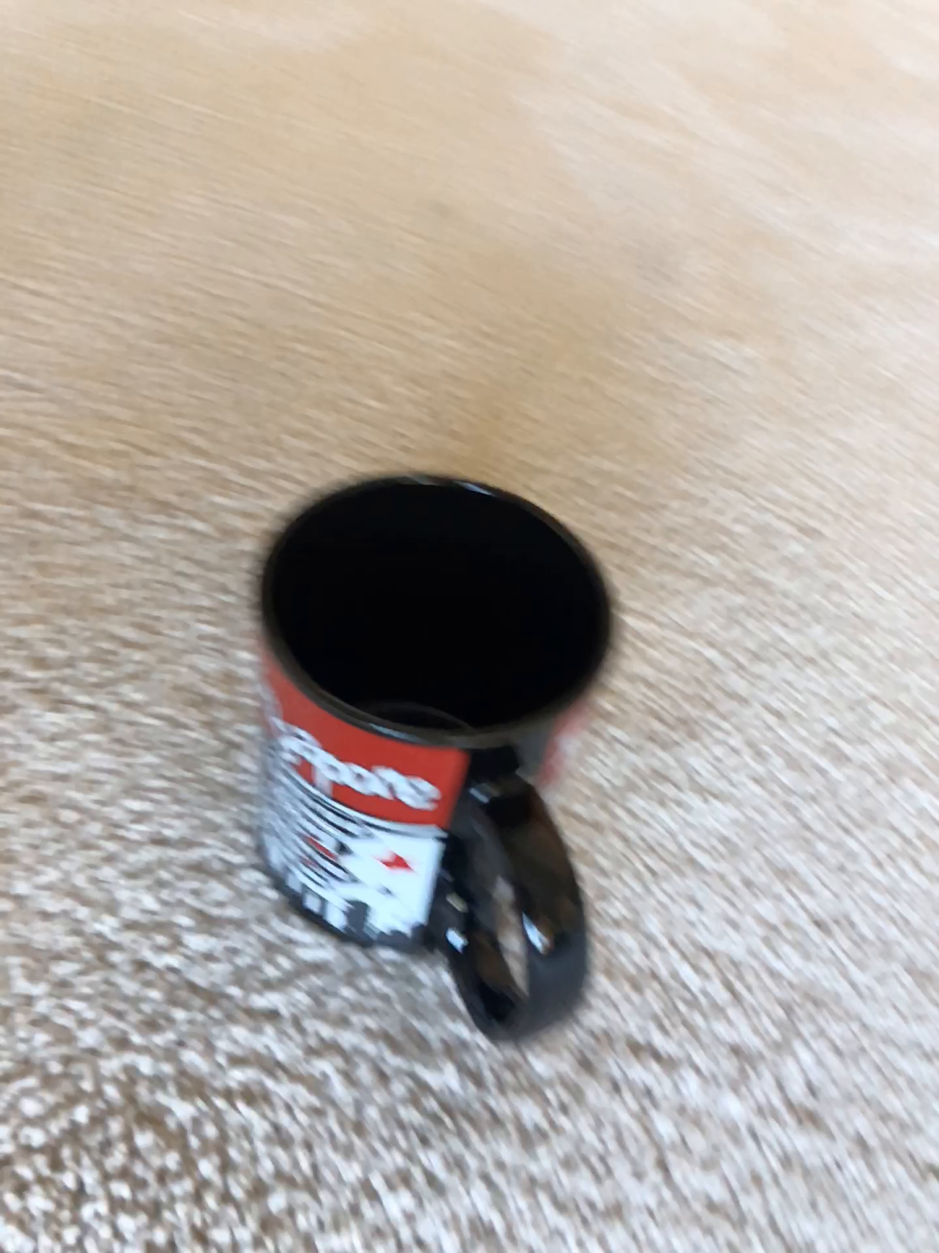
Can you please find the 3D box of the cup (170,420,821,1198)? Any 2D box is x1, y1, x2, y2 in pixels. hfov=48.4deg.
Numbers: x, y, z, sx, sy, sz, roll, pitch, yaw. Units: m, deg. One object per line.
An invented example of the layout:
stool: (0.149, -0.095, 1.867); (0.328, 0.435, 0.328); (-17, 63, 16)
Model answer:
cup: (-0.010, 0.032, 0.235); (0.090, 0.090, 0.130); (-8, 49, -19)
